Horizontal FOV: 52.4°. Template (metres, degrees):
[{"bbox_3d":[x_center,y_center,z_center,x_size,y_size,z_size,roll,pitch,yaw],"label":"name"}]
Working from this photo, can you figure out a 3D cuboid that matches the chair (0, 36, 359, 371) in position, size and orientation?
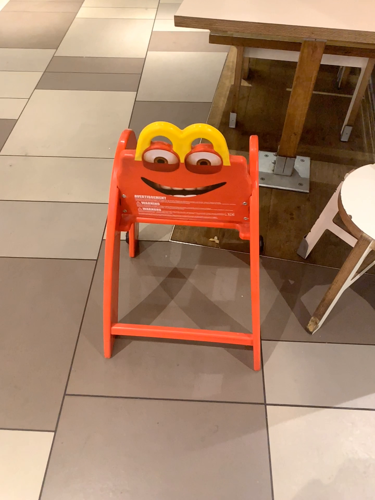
[{"bbox_3d":[-0.012,-0.097,1.029,0.580,0.654,0.585,3,52,2],"label":"chair"}]

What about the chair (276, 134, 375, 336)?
[{"bbox_3d":[0.475,-0.030,1.105,0.320,0.446,0.373,2,52,2],"label":"chair"}]
